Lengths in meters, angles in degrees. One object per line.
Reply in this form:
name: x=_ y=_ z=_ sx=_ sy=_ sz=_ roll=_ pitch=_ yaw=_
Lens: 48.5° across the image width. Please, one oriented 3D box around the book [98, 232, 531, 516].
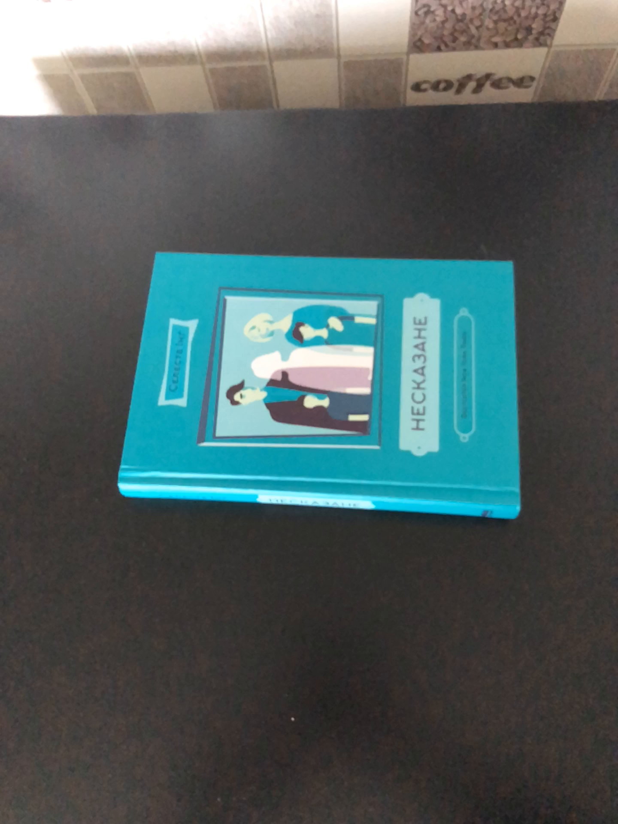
book: x=0.006 y=-0.025 z=0.385 sx=0.220 sy=0.030 sz=0.151 roll=2 pitch=71 yaw=5
